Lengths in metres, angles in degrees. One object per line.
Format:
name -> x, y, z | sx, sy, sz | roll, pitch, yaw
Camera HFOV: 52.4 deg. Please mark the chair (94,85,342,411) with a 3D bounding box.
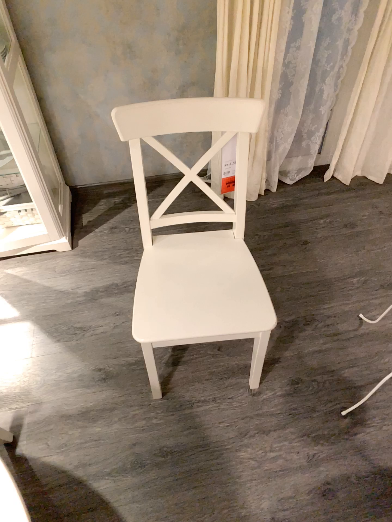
chair -> 0.015, 0.011, 1.198 | 0.450, 0.807, 0.542 | -6, 51, -4
